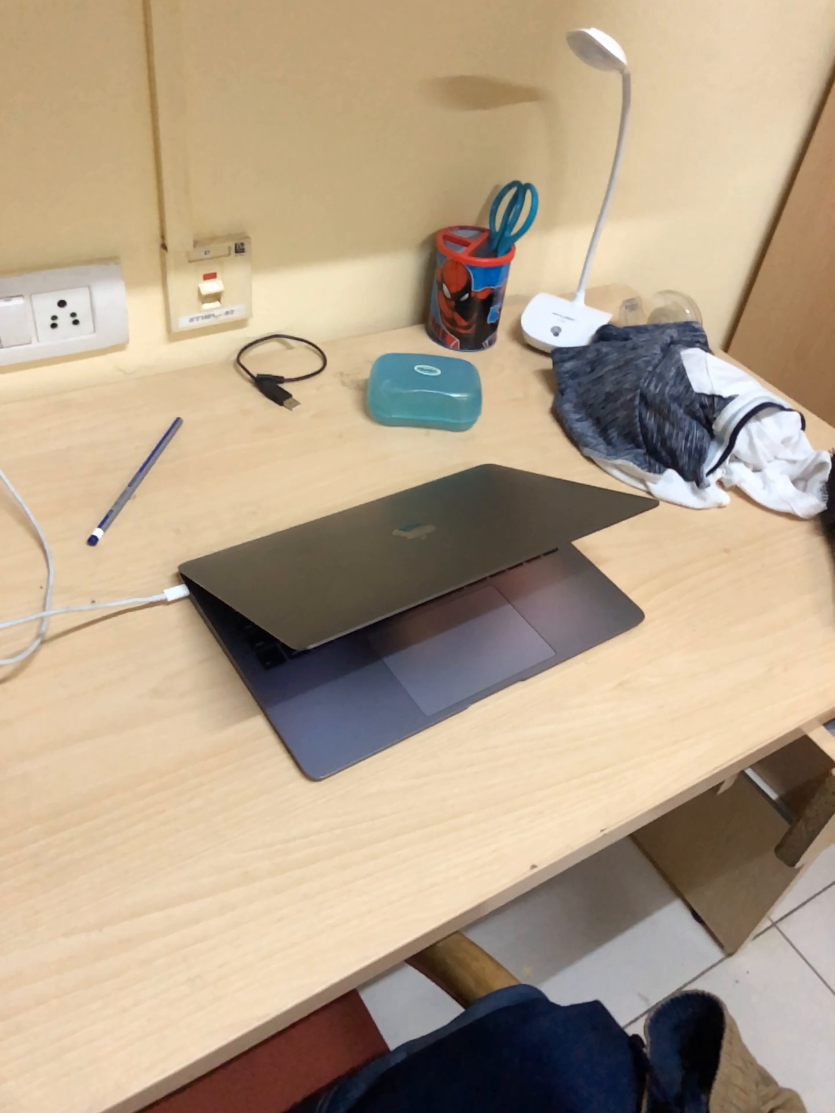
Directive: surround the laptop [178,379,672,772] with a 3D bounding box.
[{"bbox_3d":[0.005,-0.006,0.675,0.295,0.094,0.193,-21,51,-29],"label":"laptop"}]
